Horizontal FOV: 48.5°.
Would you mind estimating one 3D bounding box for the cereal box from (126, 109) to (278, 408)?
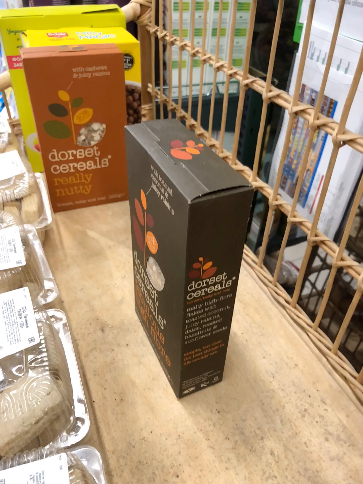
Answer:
[{"bbox_3d":[0.002,0.017,0.337,0.050,0.209,0.131,-13,41,-21],"label":"cereal box"}]
